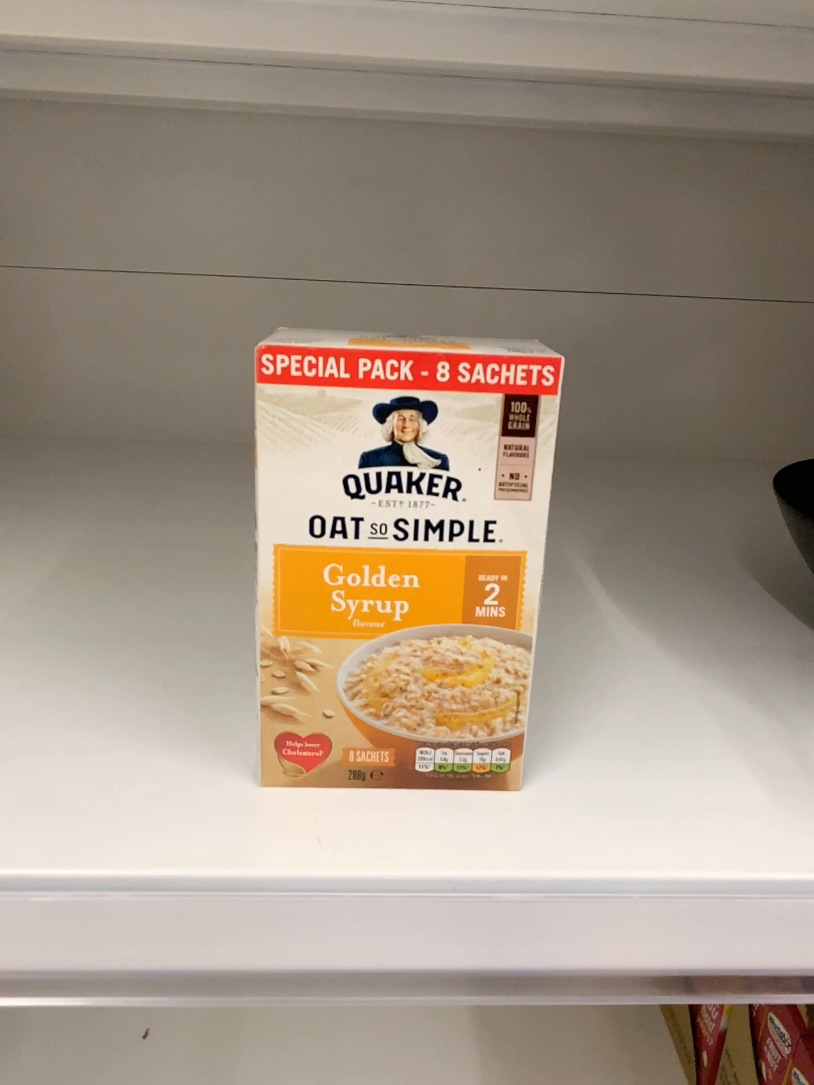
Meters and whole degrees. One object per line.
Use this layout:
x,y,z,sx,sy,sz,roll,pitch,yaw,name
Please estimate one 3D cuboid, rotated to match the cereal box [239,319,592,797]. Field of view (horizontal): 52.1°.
-0.002,0.007,0.392,0.140,0.209,0.070,2,17,-3,cereal box
